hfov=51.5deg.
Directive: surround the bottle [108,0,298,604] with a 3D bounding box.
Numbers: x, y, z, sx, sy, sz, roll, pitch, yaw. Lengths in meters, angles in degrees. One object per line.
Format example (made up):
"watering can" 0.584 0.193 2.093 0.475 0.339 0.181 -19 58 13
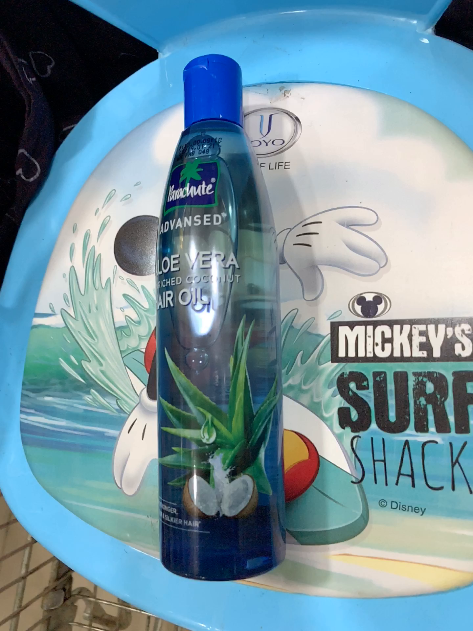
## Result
"bottle" -0.010 -0.012 0.182 0.050 0.050 0.200 -2 88 18
